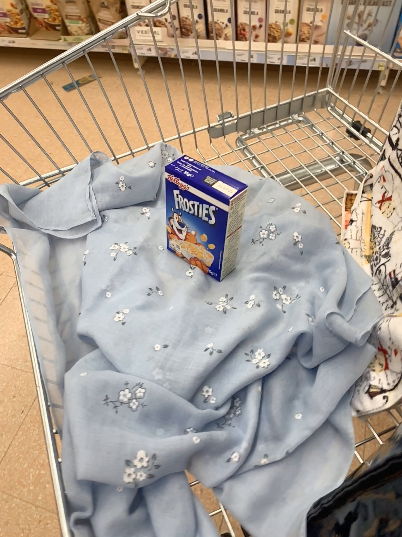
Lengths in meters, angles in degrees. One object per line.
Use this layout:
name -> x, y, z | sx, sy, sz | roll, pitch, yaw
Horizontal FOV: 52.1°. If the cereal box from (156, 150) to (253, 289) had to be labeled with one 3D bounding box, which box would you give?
cereal box -> 0.002, -0.054, 0.481 | 0.100, 0.129, 0.040 | 32, 54, 27
